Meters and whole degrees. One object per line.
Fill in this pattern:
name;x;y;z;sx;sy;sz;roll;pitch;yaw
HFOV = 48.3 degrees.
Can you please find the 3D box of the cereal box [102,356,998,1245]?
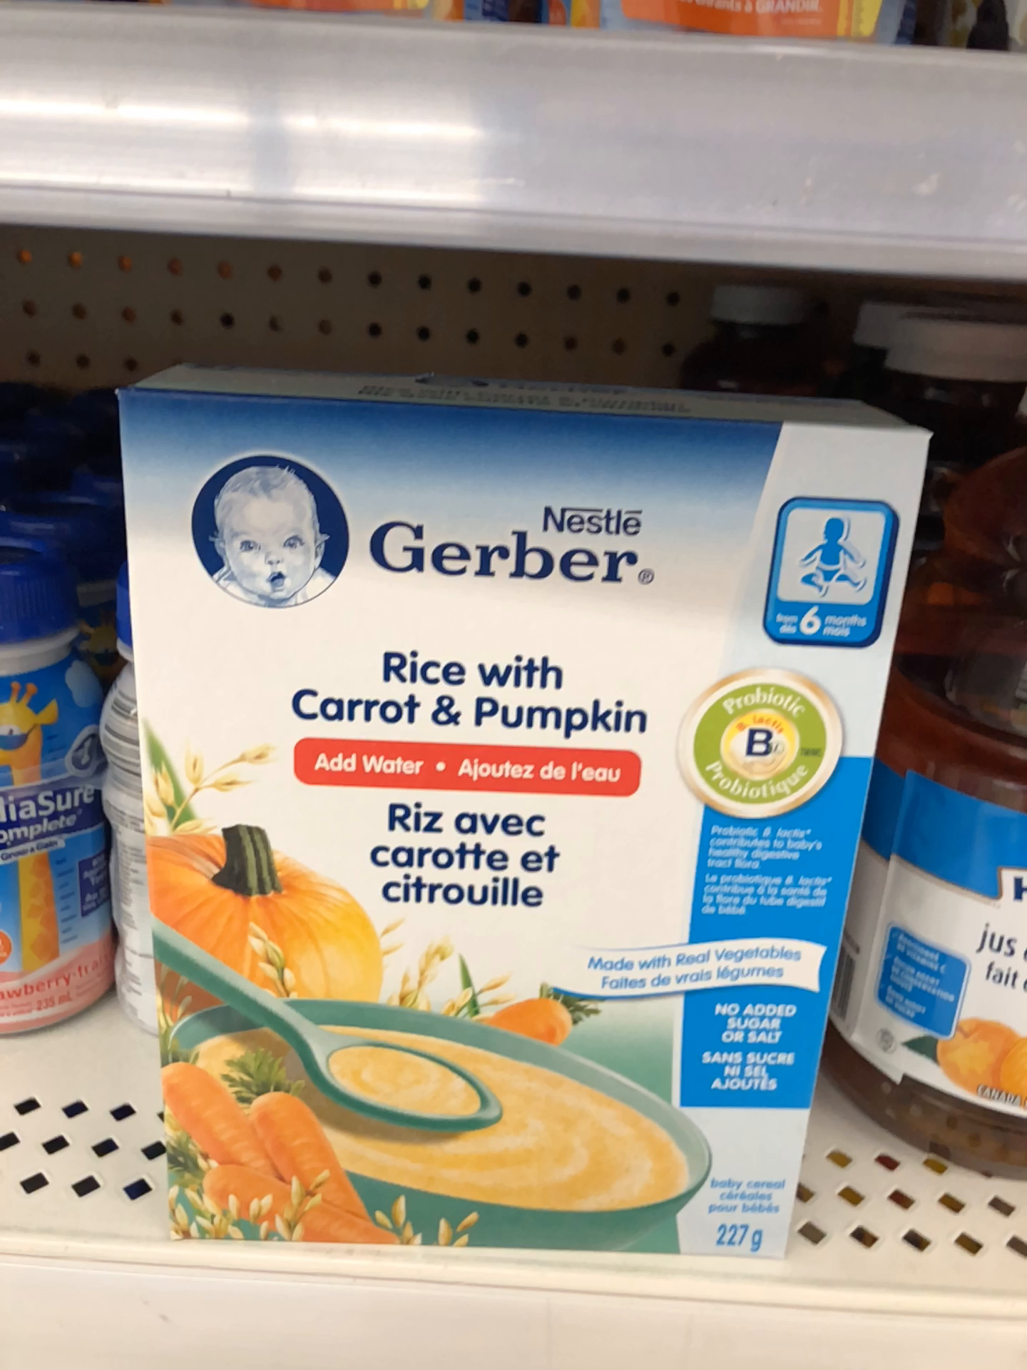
cereal box;0.001;0.030;0.246;0.150;0.179;0.050;3;21;-3
